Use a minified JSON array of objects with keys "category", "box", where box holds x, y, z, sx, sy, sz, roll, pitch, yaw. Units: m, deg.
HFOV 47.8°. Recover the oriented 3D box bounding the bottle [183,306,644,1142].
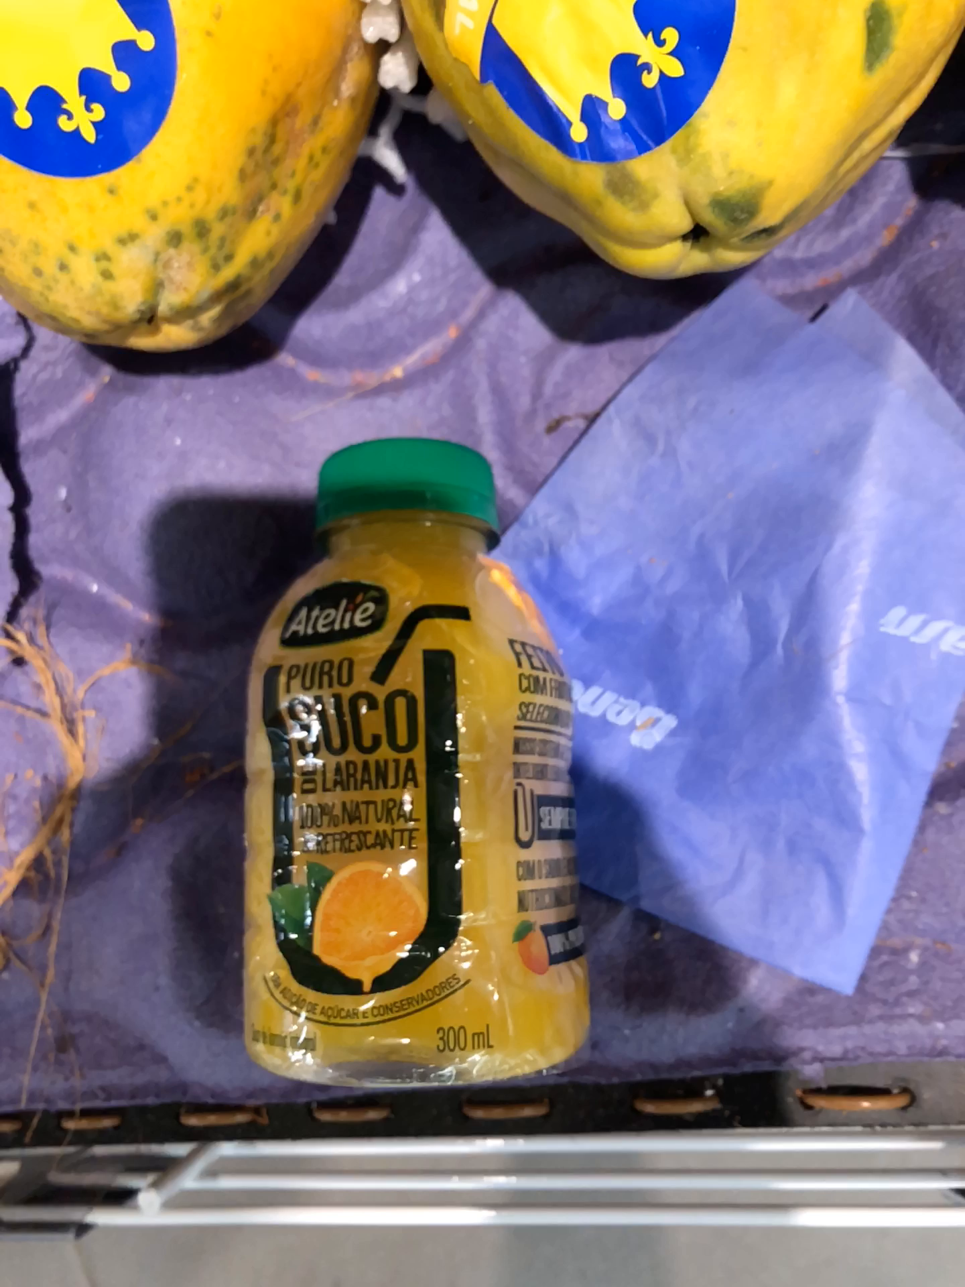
[{"category":"bottle","box":[-0.011,0.016,0.220,0.070,0.060,0.140,-5,86,14]}]
